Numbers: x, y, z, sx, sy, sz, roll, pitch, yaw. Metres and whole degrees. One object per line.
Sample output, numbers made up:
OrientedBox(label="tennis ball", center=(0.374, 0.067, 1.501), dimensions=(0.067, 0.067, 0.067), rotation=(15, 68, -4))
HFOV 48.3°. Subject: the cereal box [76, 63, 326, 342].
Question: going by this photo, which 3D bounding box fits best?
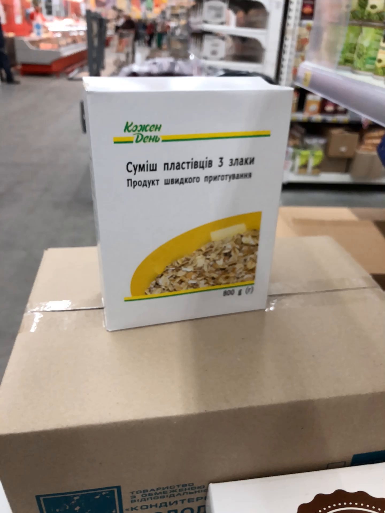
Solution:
OrientedBox(label="cereal box", center=(0.001, -0.046, 0.362), dimensions=(0.170, 0.209, 0.070), rotation=(-6, 29, -13))
